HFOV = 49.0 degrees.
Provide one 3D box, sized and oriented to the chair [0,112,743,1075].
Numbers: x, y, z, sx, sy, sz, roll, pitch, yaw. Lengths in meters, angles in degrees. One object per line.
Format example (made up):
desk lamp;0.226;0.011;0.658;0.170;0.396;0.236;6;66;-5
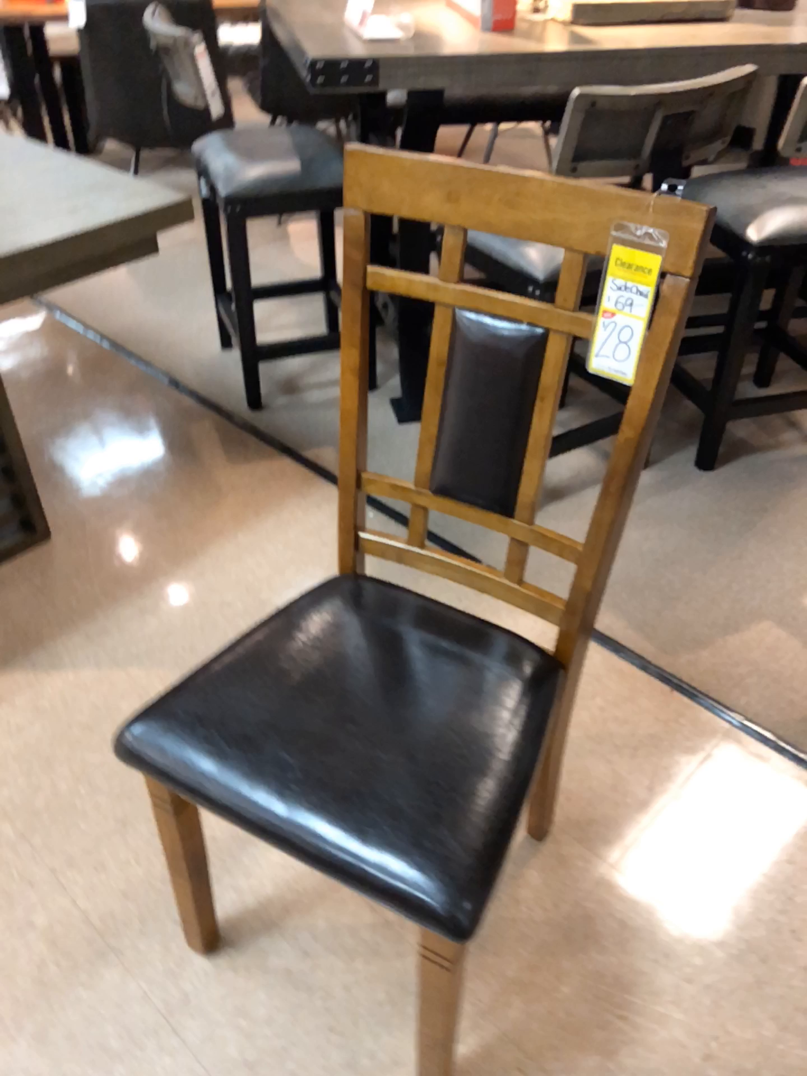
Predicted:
chair;-0.010;0.121;1.036;0.451;0.993;0.502;20;43;23
